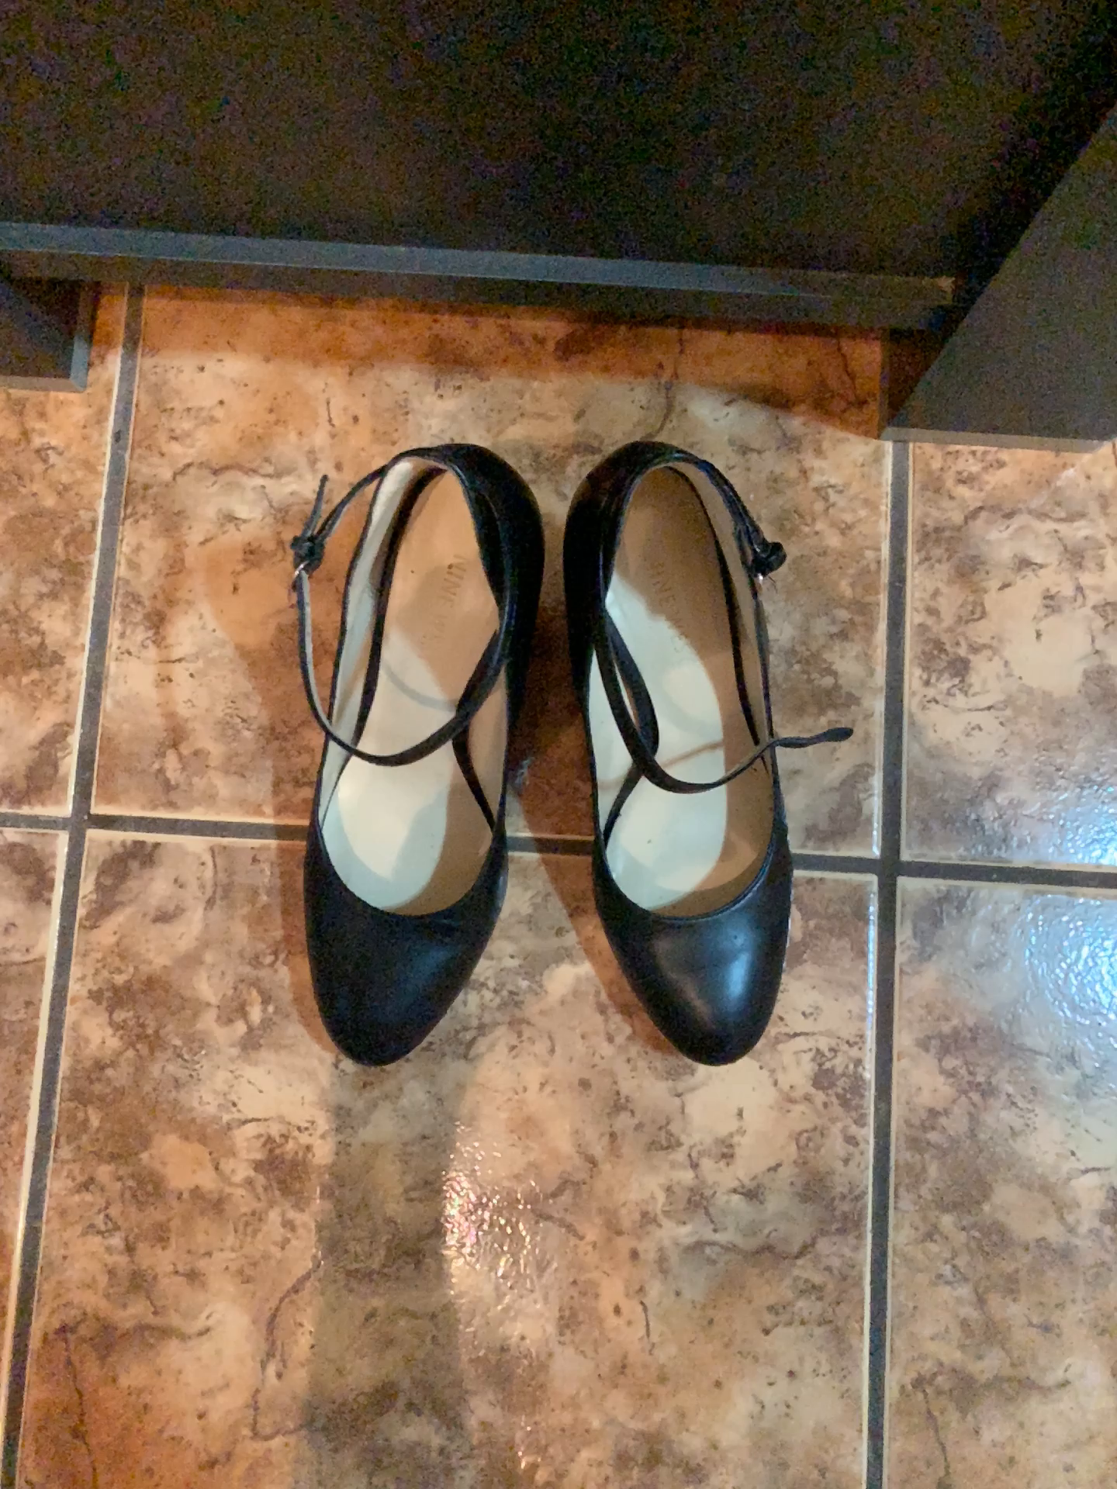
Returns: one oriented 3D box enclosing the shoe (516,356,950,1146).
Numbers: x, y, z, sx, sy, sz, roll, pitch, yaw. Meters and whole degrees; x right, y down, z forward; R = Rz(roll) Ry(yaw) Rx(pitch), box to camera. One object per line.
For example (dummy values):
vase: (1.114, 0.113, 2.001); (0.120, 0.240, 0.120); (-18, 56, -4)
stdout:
shoe: (0.046, 0.006, 0.384); (0.087, 0.140, 0.209); (-8, 83, -1)

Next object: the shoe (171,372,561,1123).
shoe: (-0.051, 0.007, 0.393); (0.079, 0.160, 0.200); (7, 83, 1)
